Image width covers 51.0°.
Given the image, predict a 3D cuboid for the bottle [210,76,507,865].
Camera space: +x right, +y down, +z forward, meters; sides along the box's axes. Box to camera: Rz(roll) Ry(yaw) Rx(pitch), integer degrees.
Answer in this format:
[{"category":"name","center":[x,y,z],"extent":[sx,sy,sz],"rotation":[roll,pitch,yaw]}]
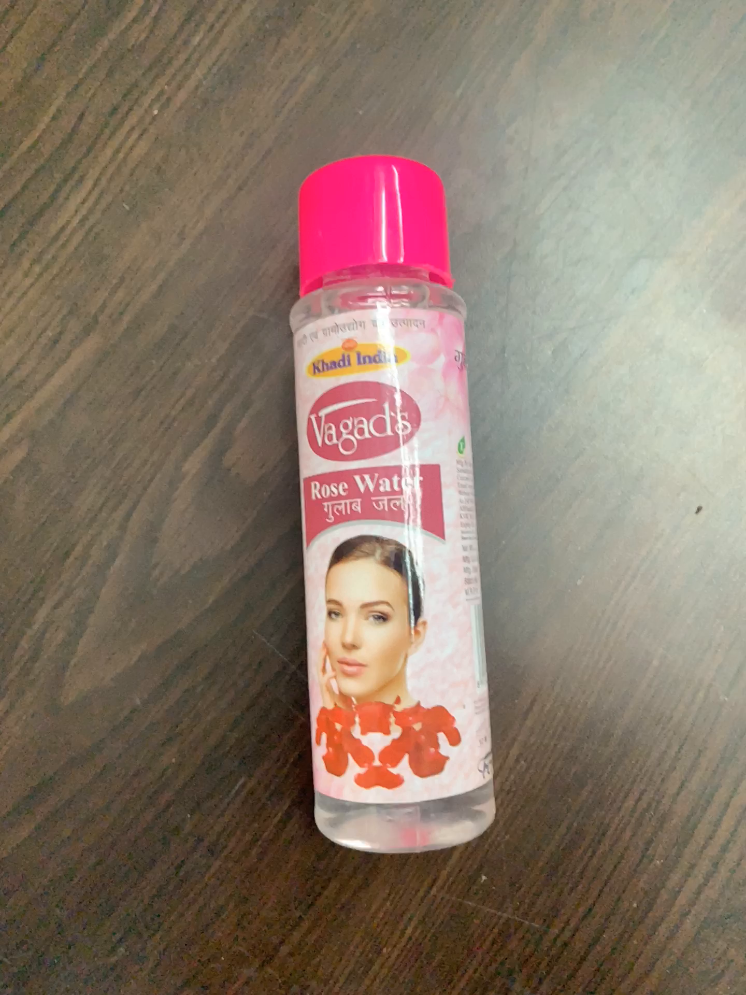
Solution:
[{"category":"bottle","center":[-0.001,-0.004,0.162],"extent":[0.050,0.040,0.140],"rotation":[-2,88,8]}]
